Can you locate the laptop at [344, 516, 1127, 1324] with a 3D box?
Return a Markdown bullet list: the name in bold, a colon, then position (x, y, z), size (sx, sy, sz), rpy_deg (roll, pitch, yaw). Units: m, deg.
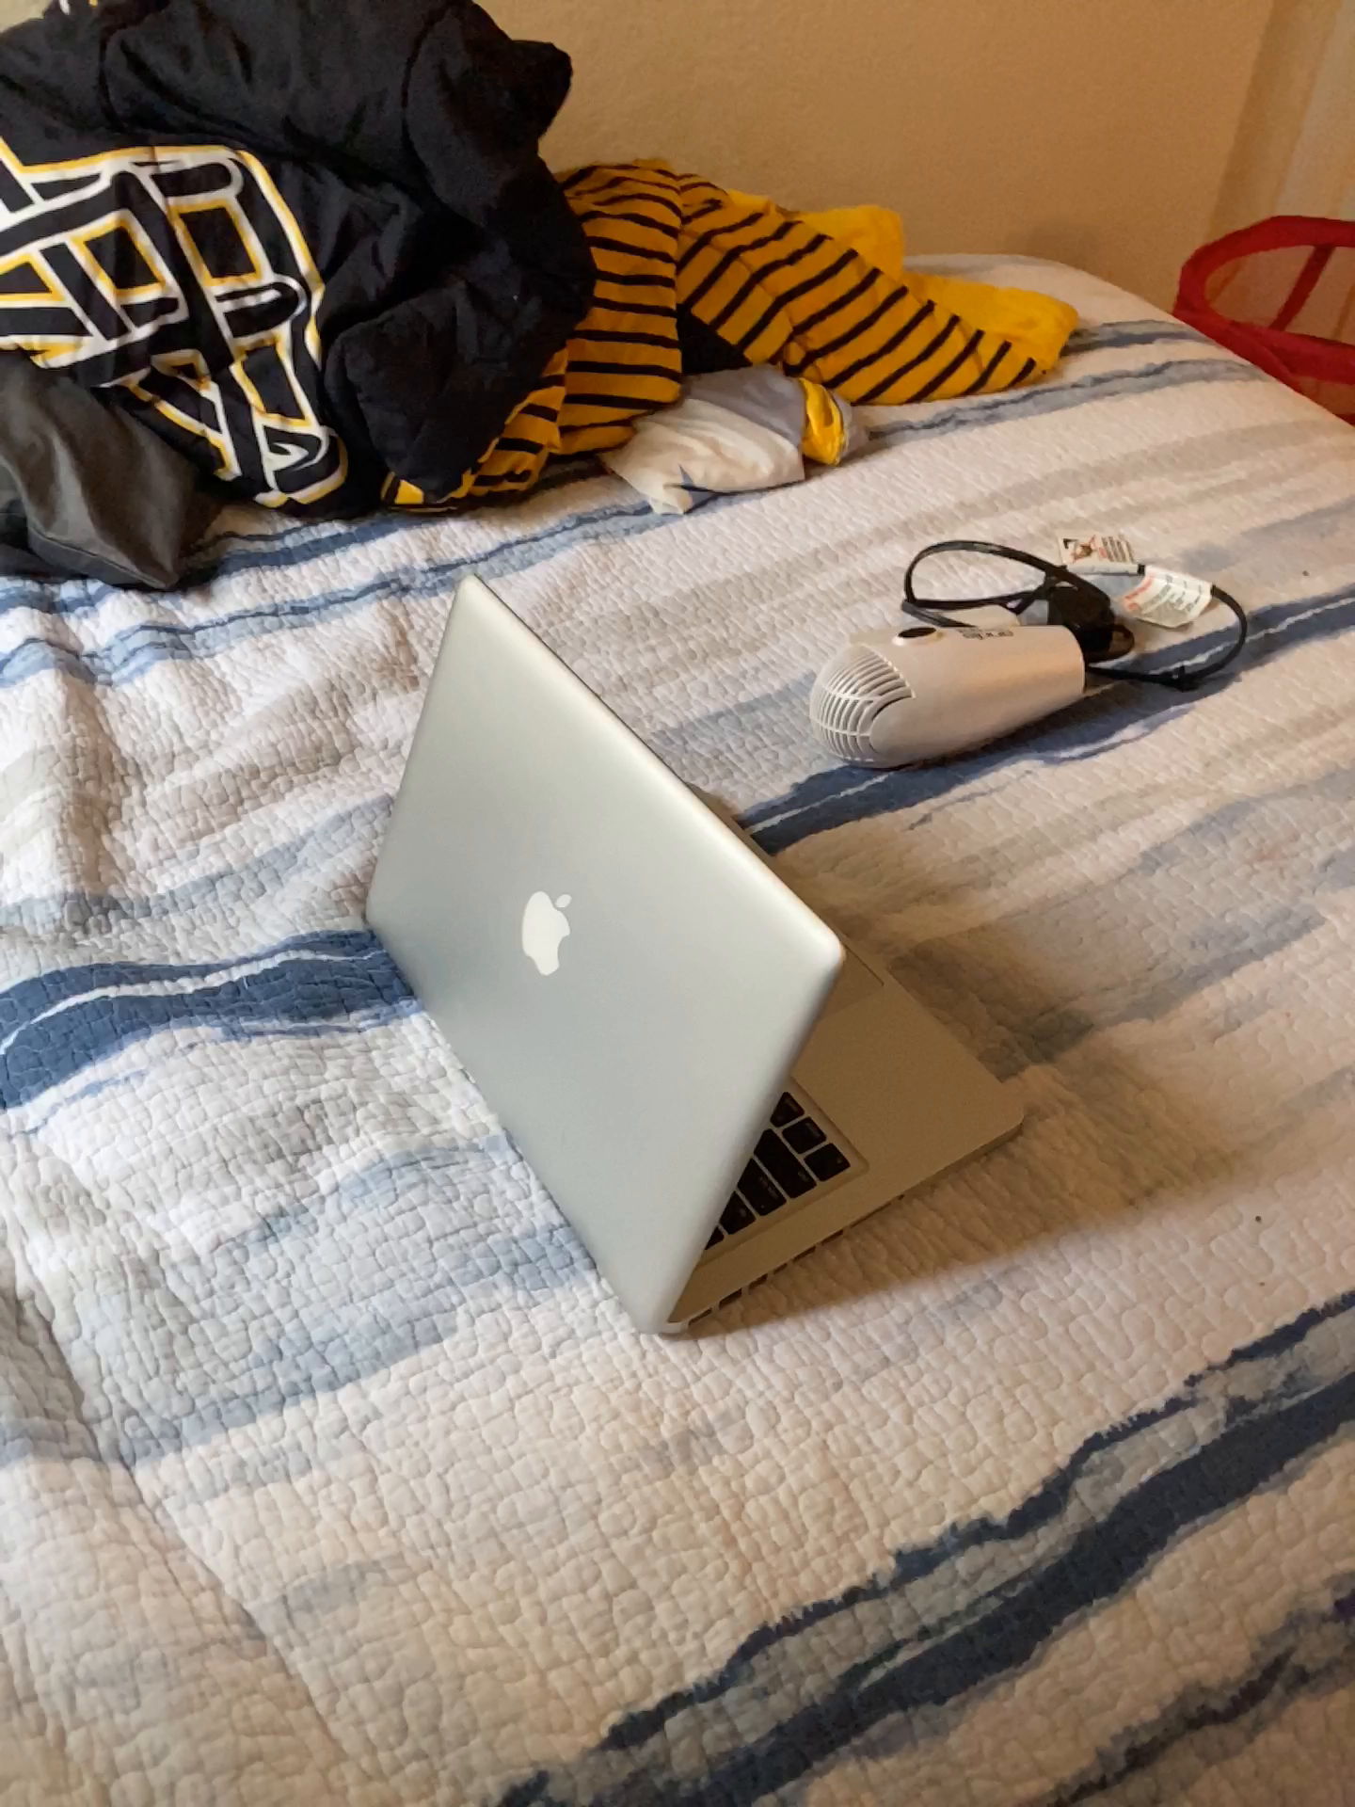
- **laptop**: position (0.008, -0.010, 0.678), size (0.214, 0.188, 0.302), rpy_deg (-23, 50, -22)
